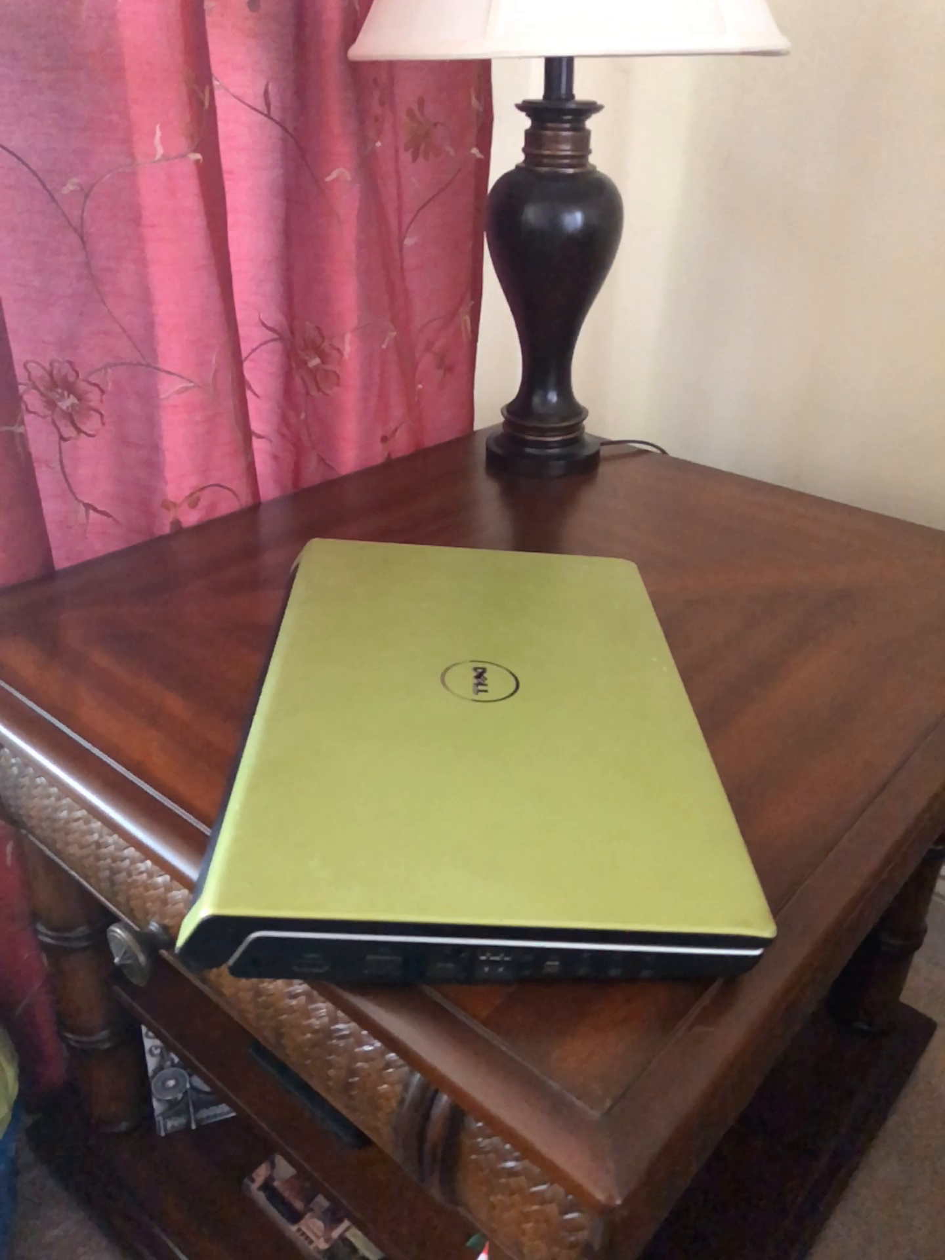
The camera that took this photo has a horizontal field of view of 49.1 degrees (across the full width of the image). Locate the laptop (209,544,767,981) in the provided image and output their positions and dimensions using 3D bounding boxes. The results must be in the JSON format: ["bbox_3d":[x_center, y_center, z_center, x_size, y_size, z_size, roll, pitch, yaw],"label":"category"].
[{"bbox_3d":[0.004,0.045,0.607,0.236,0.020,0.380,4,28,-4],"label":"laptop"}]
